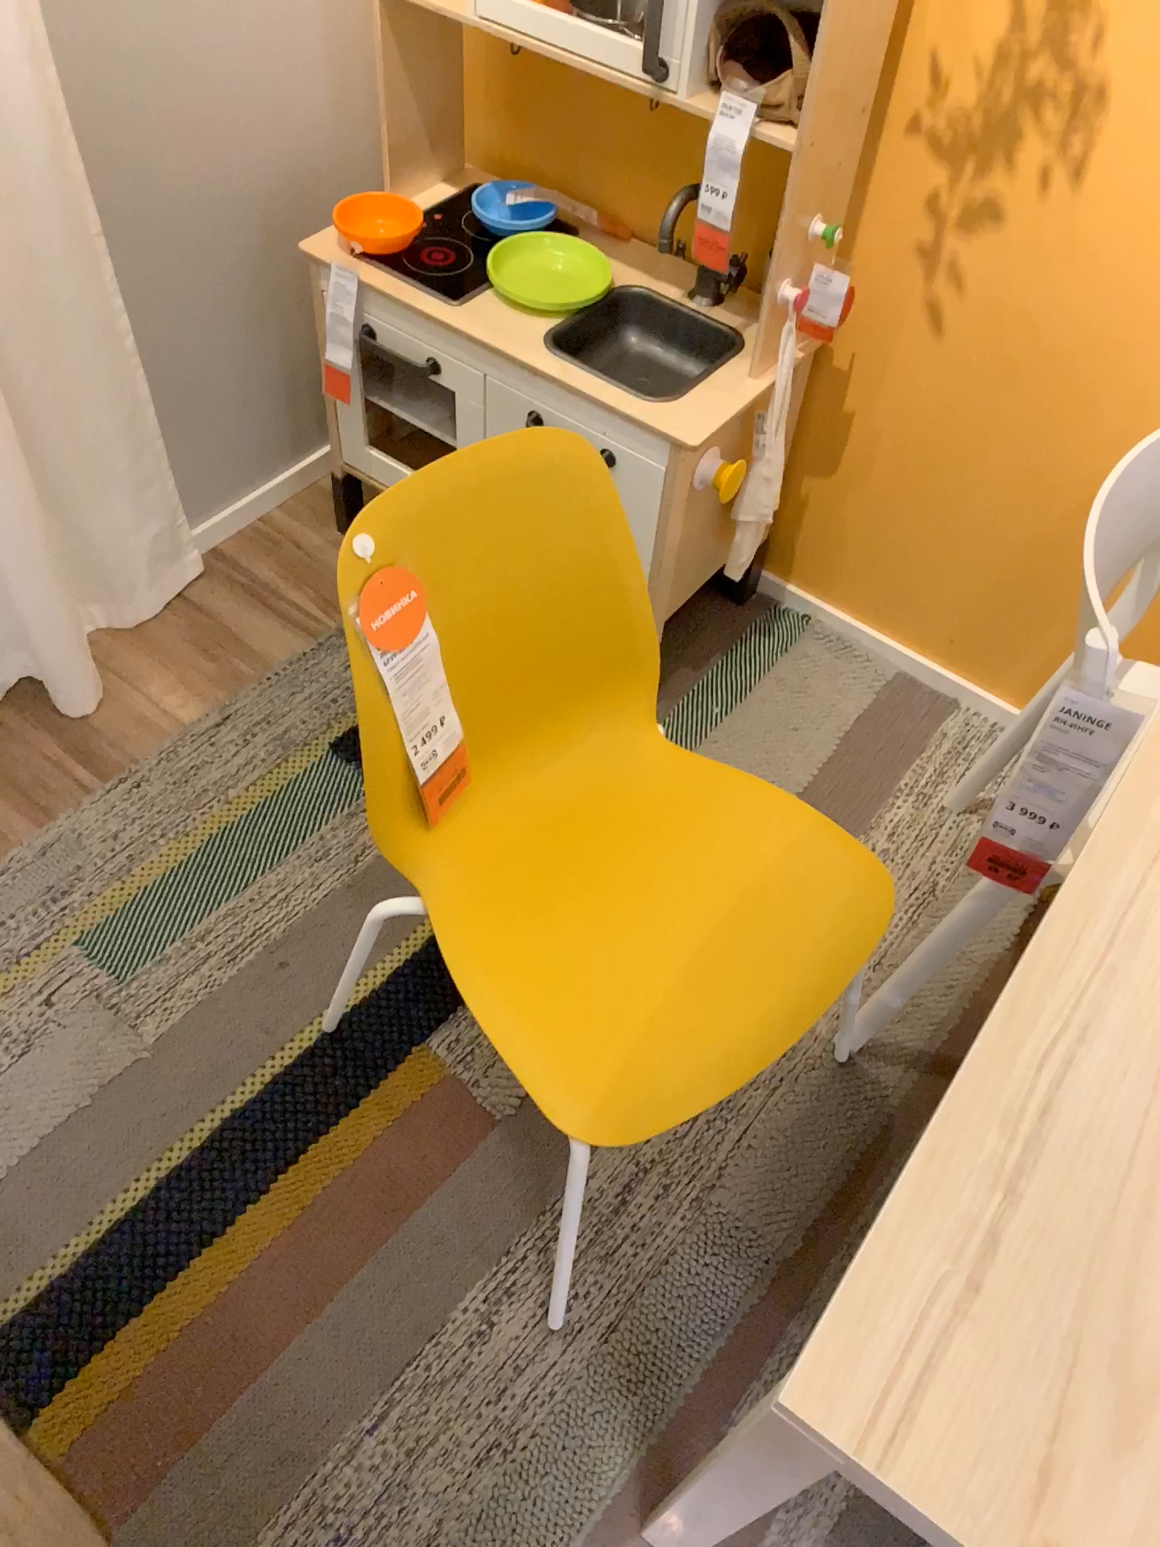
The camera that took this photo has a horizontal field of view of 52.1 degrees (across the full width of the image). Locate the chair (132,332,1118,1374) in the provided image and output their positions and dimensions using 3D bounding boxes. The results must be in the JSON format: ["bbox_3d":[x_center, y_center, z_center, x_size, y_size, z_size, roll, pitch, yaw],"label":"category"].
[{"bbox_3d":[0.019,0.119,1.259,0.555,0.810,0.558,39,59,22],"label":"chair"}]
